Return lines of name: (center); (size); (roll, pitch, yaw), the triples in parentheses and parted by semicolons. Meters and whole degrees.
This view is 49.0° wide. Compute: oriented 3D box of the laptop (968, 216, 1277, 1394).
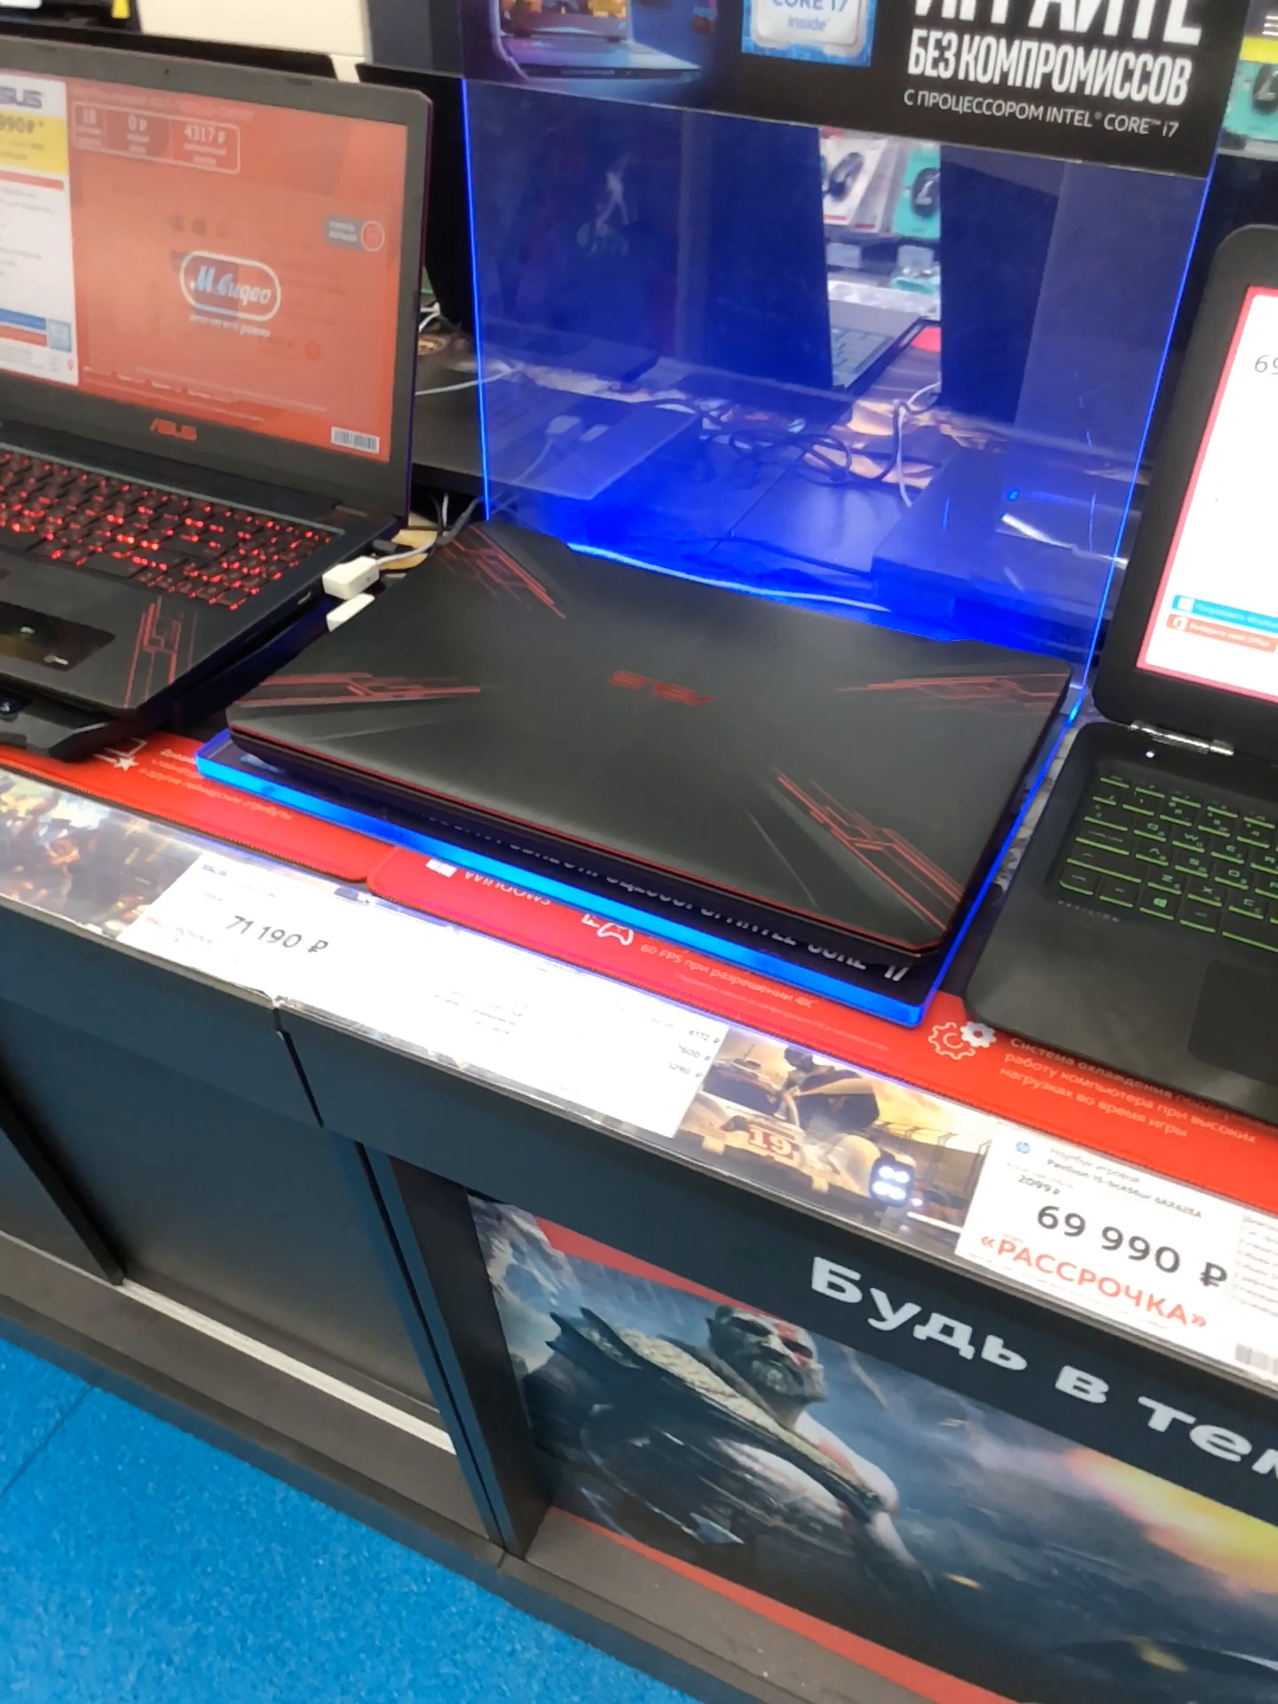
laptop: (0.371, -0.057, 0.560); (0.374, 0.242, 0.293); (18, 43, 20)

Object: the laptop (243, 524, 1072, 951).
laptop: (0.016, -0.084, 0.747); (0.373, 0.006, 0.244); (18, 43, 20)

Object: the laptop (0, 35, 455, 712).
laptop: (-0.361, -0.308, 0.825); (0.390, 0.231, 0.320); (17, 41, 19)
